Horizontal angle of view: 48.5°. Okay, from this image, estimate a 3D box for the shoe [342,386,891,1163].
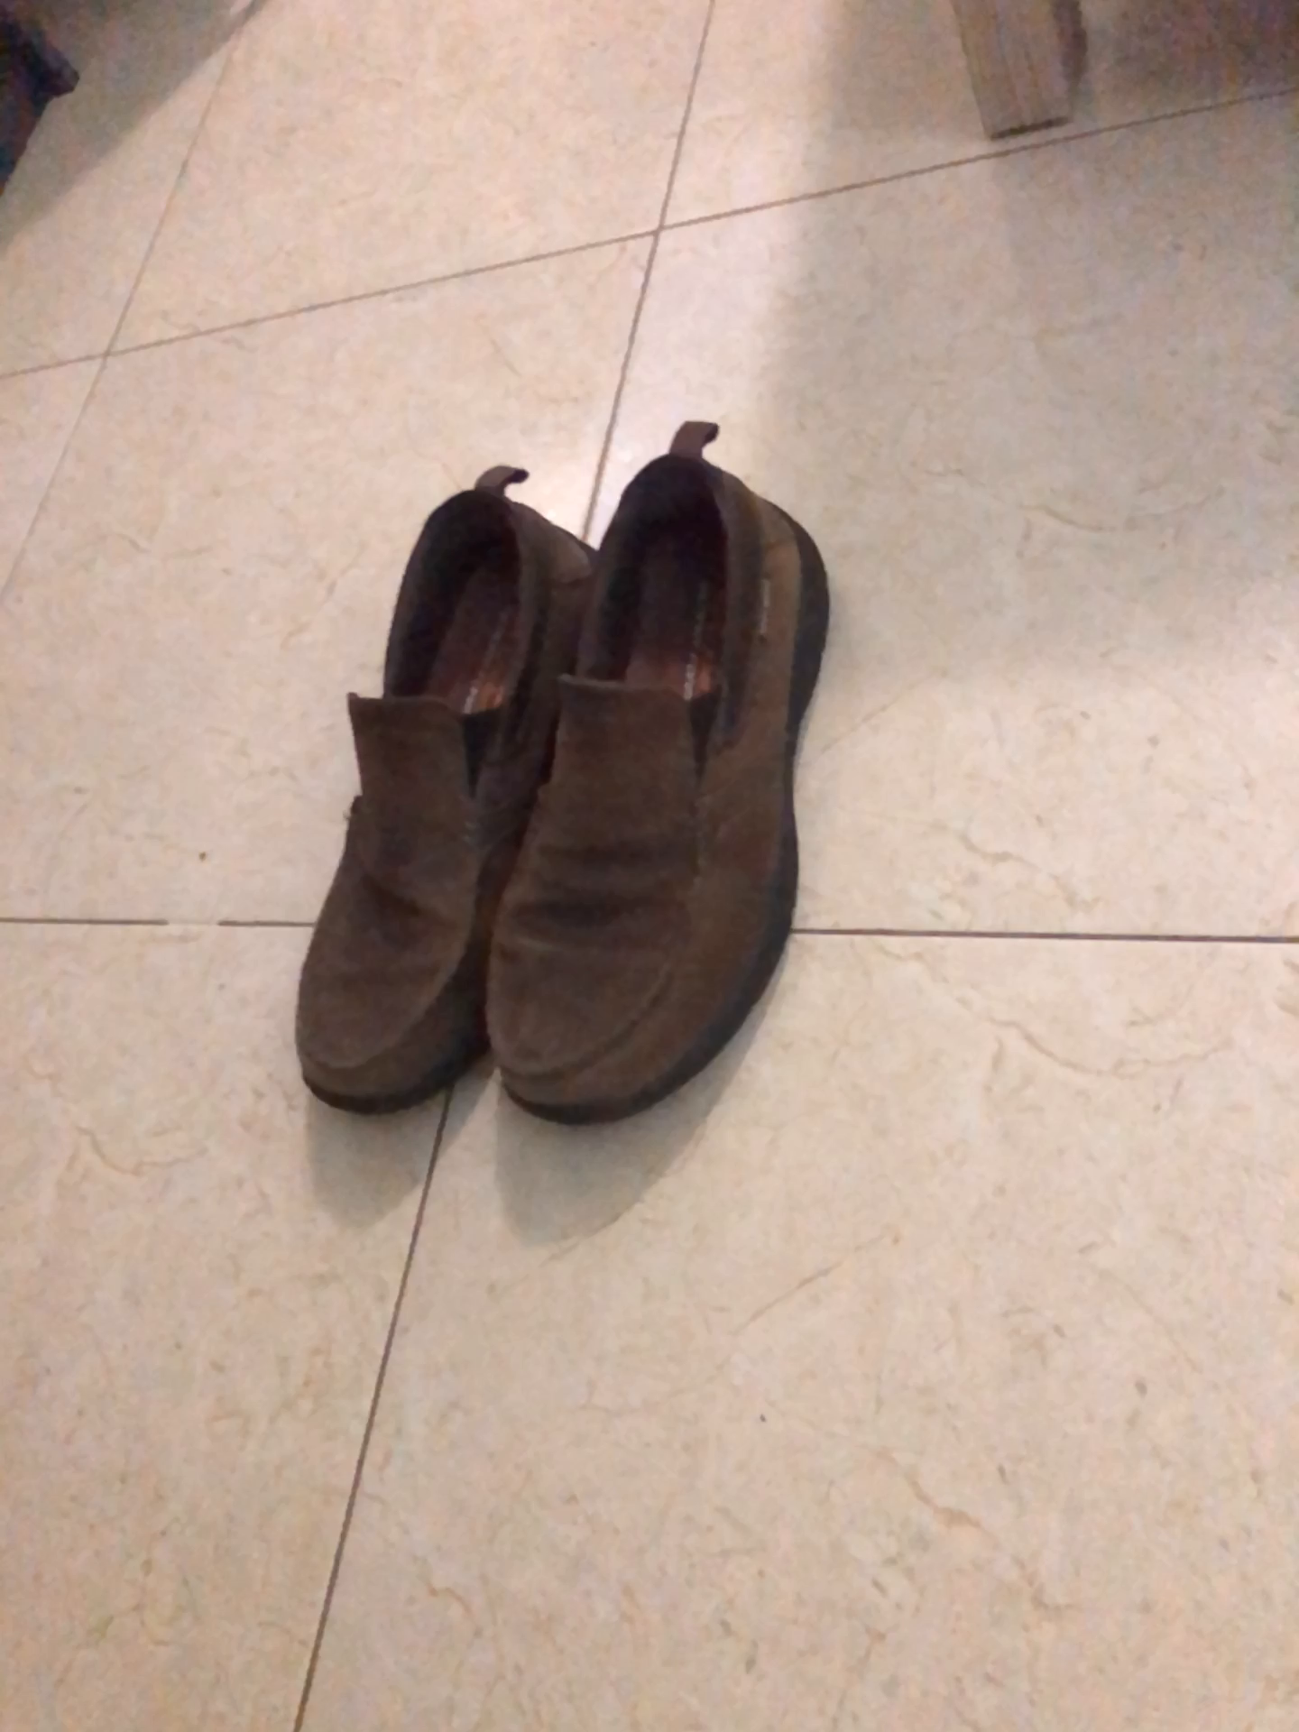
[{"bbox_3d":[-0.002,-0.044,0.608,0.130,0.100,0.300,4,66,28],"label":"shoe"}]

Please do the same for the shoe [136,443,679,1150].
[{"bbox_3d":[-0.100,-0.039,0.664,0.120,0.100,0.300,6,67,29],"label":"shoe"}]
